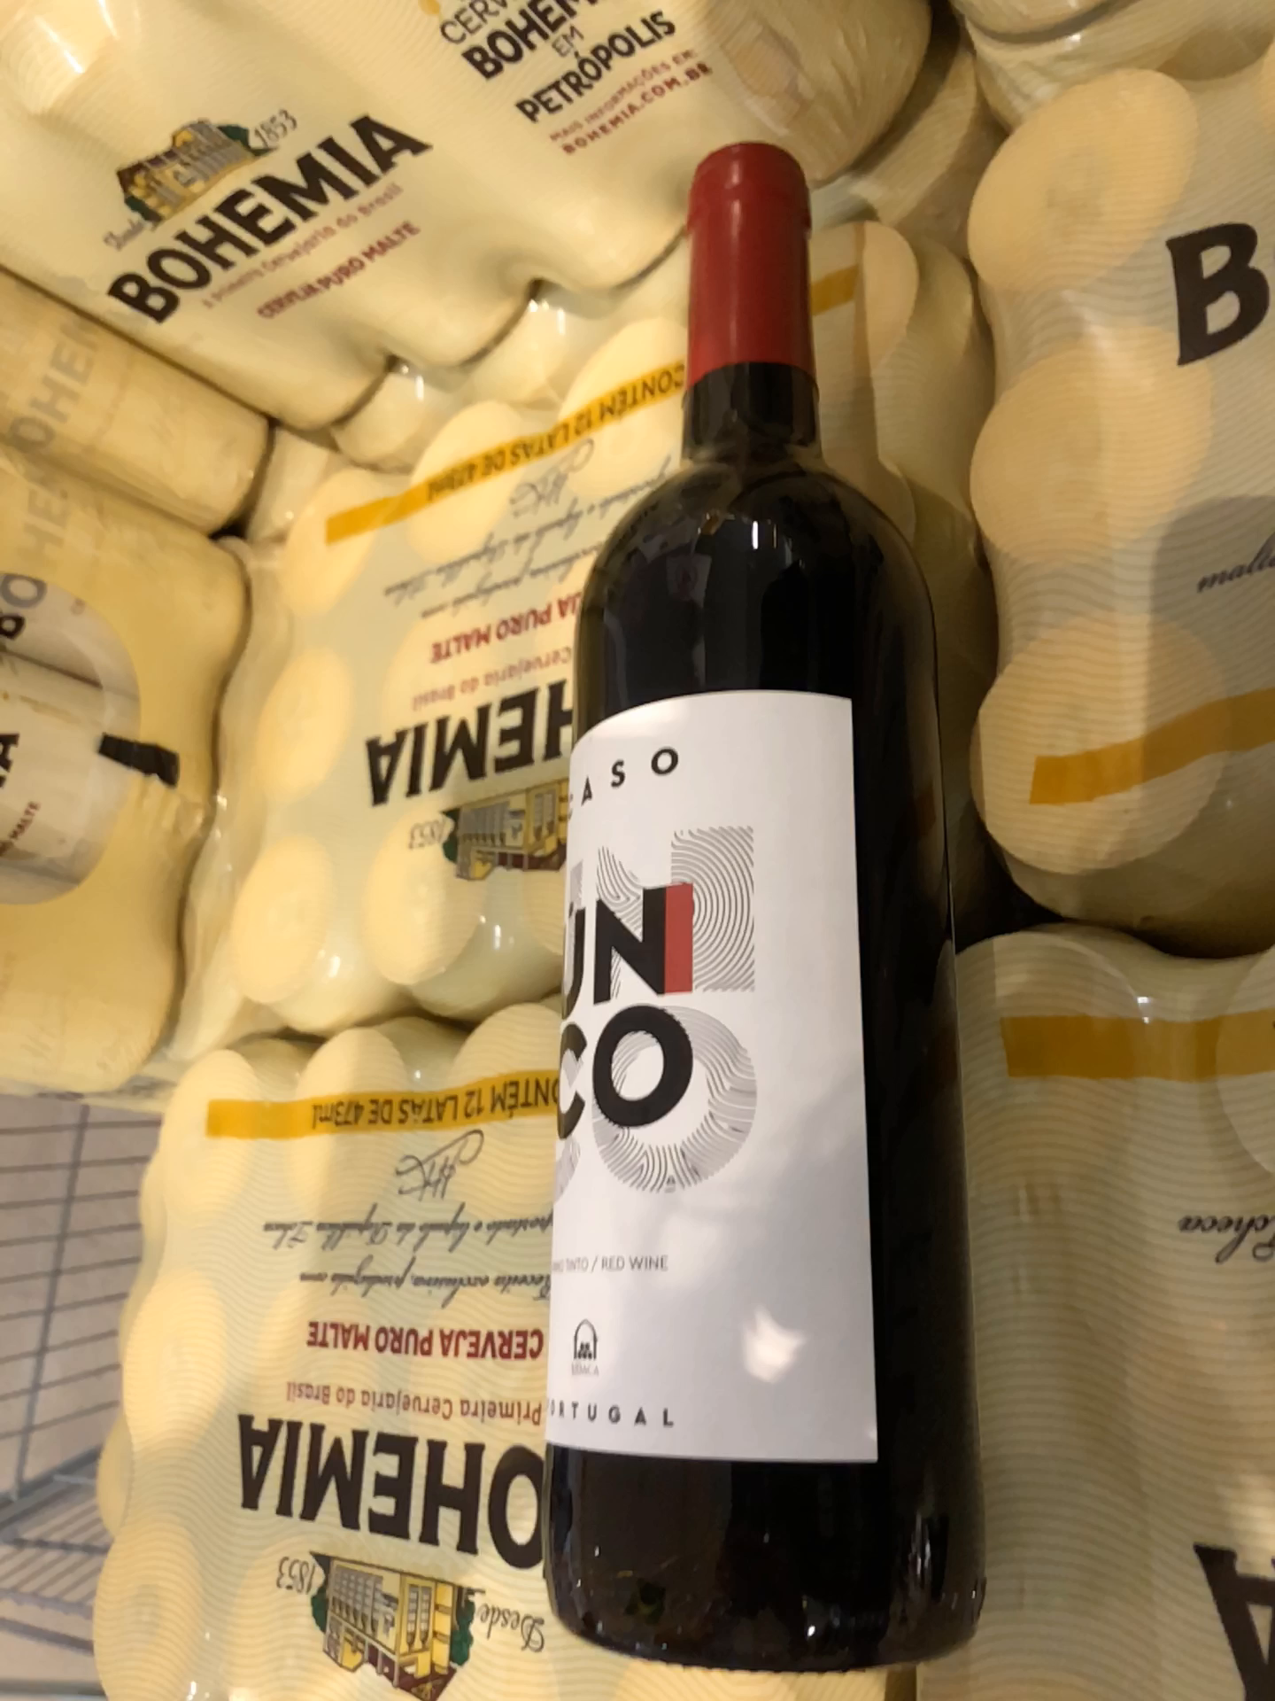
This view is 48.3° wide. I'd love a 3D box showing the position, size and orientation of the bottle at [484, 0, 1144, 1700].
[{"bbox_3d":[0.029,-0.028,0.280,0.080,0.070,0.330,-15,67,39],"label":"bottle"}]
